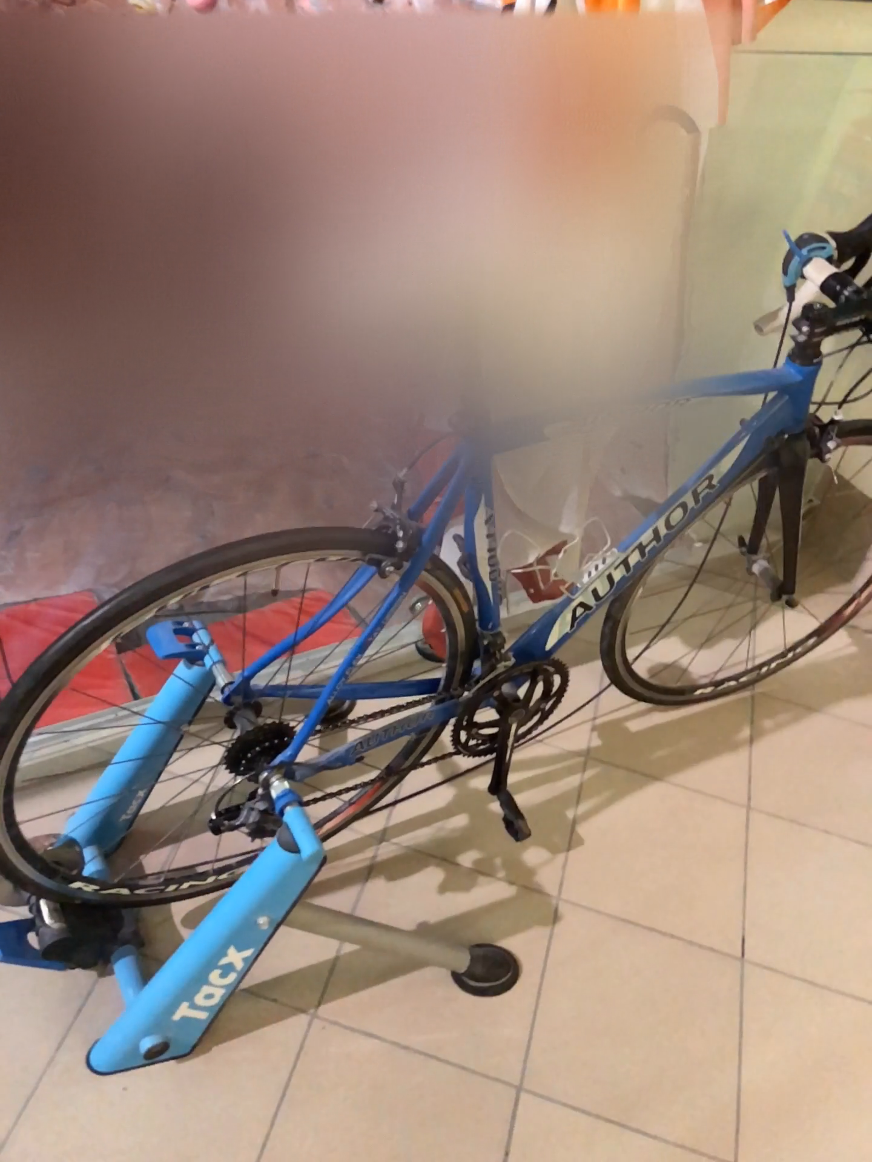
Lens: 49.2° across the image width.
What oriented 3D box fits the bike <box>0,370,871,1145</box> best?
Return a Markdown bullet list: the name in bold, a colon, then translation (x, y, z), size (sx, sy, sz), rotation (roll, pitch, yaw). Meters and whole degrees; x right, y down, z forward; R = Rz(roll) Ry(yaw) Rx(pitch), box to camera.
- **bike**: translation (0.178, 0.138, 1.419), size (1.555, 0.682, 0.467), rotation (-11, 44, -29)
